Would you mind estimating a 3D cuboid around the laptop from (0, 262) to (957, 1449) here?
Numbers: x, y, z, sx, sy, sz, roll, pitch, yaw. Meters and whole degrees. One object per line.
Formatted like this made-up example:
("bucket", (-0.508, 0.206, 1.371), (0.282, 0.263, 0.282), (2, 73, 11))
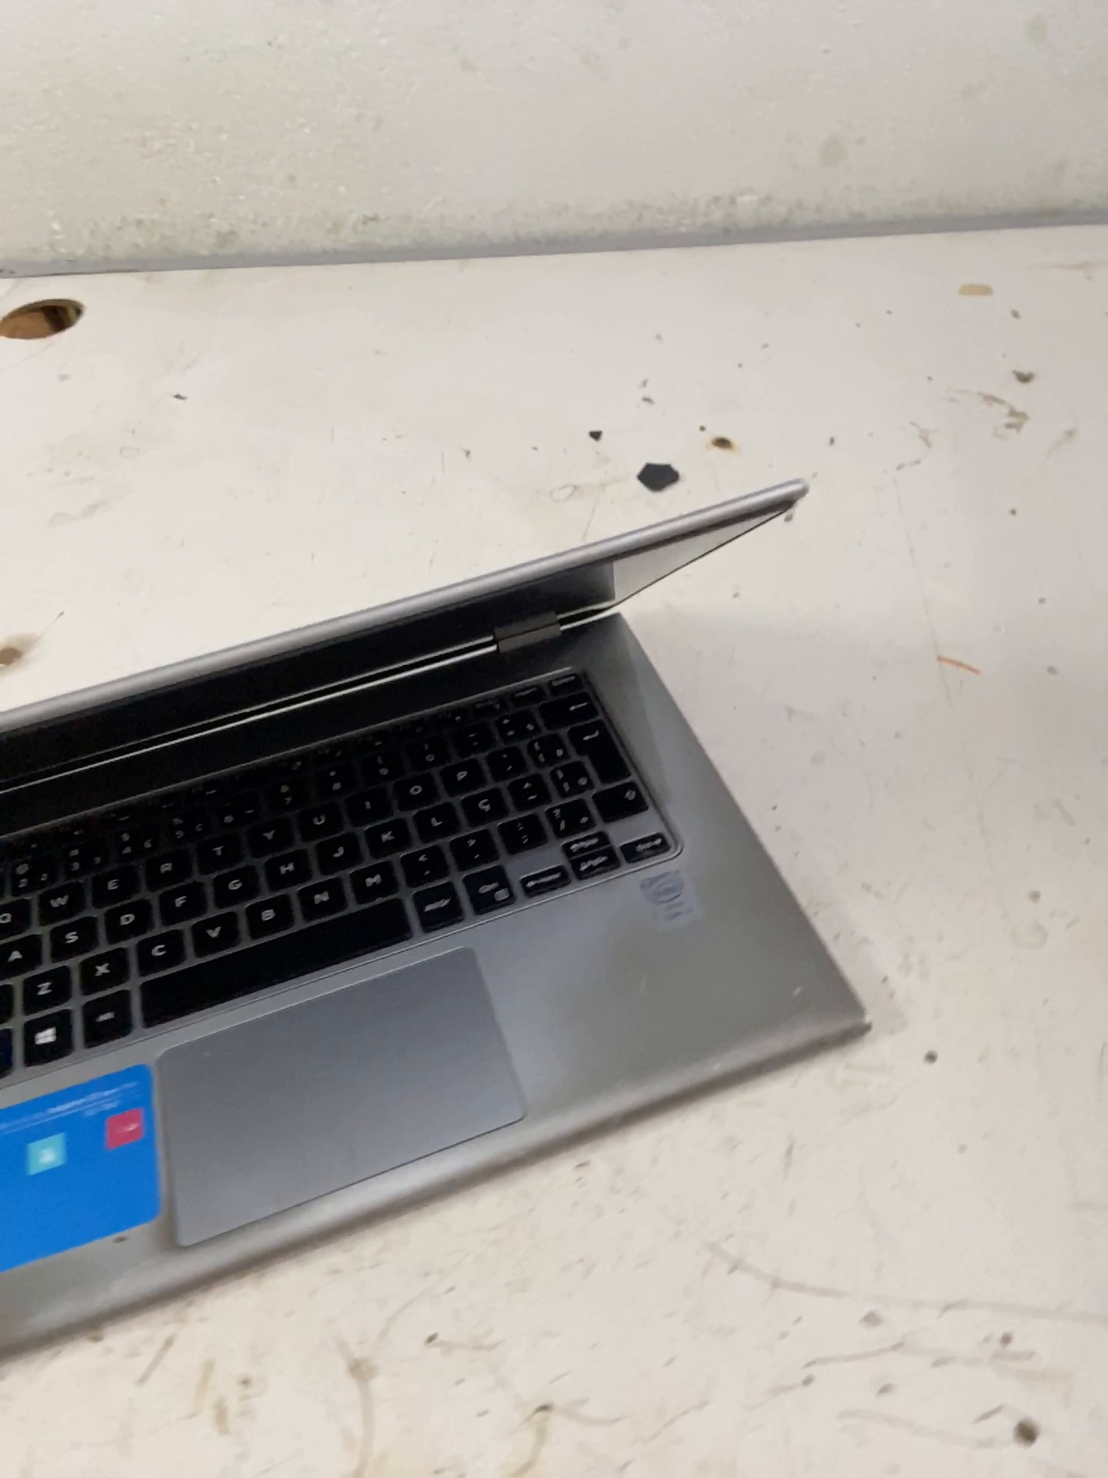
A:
("laptop", (-0.098, 0.011, 0.345), (0.327, 0.155, 0.219), (-17, 47, -10))
